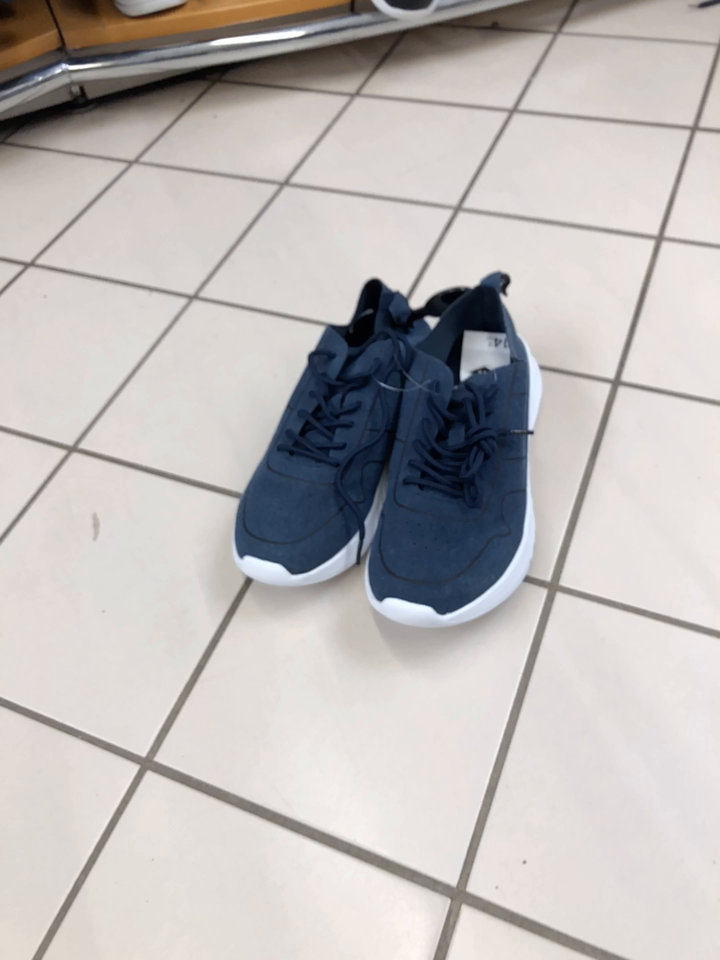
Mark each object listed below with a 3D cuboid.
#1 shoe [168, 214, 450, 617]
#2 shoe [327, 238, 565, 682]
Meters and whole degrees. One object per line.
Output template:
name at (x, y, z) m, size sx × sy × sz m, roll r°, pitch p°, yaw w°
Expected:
shoe at (-0.018, -0.062, 0.589) m, size 0.100 × 0.109 × 0.292 m, roll 10°, pitch 53°, yaw 16°
shoe at (0.073, -0.028, 0.555) m, size 0.100 × 0.119 × 0.292 m, roll 8°, pitch 53°, yaw 14°
